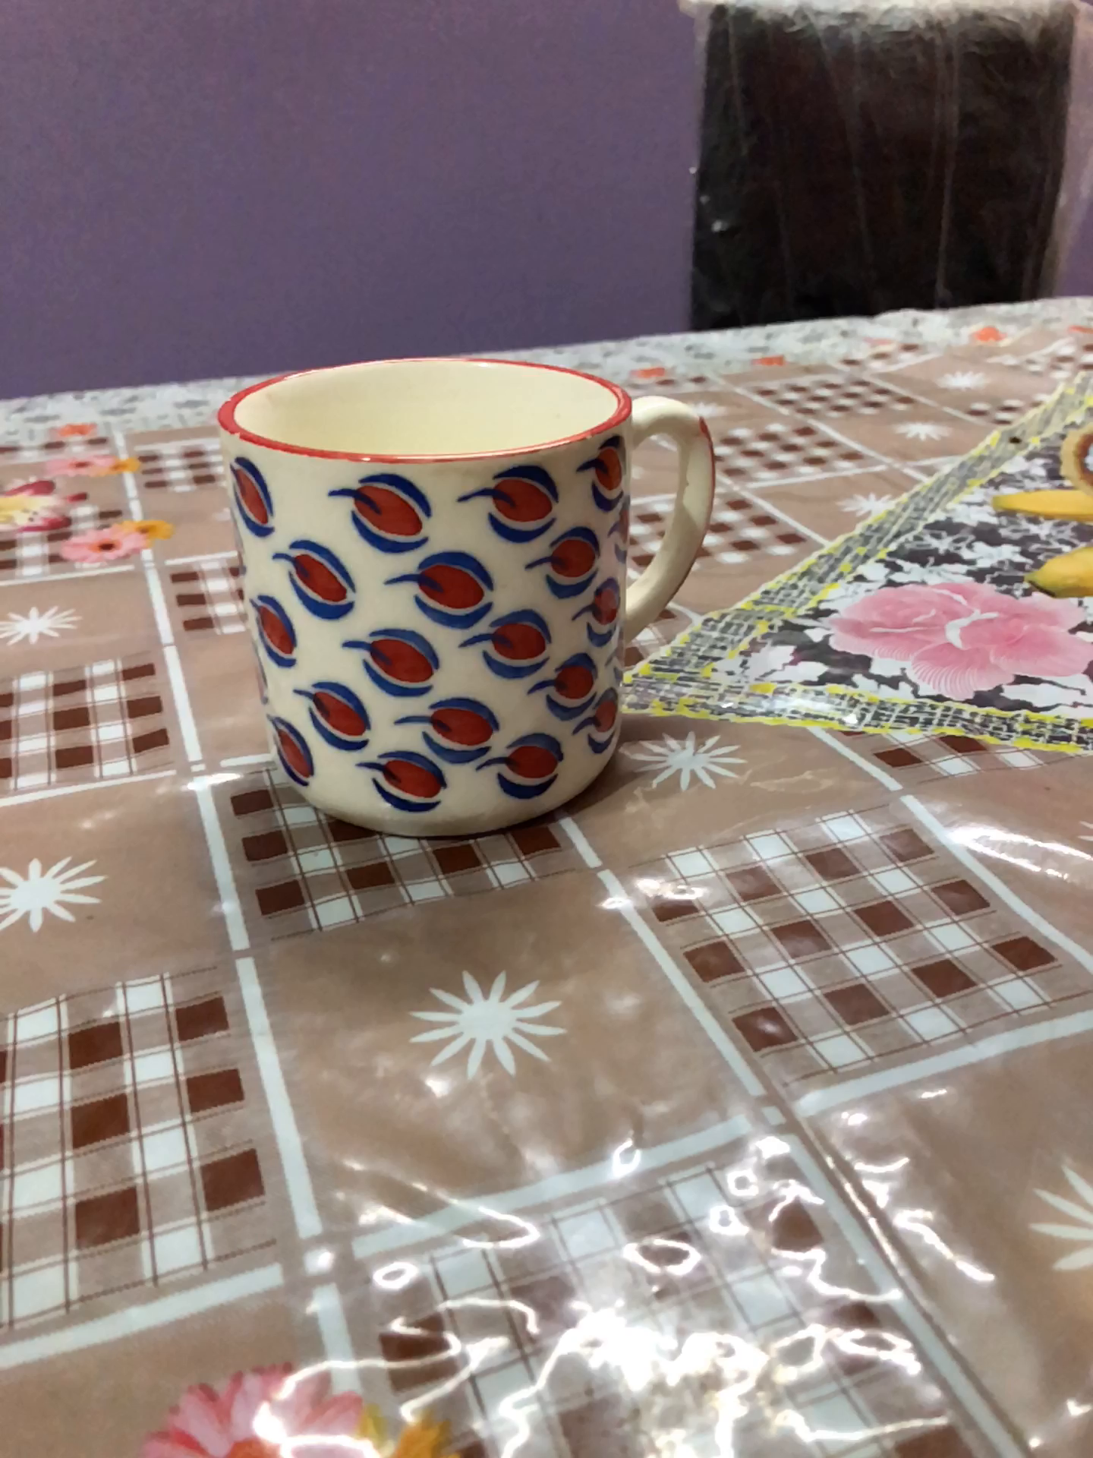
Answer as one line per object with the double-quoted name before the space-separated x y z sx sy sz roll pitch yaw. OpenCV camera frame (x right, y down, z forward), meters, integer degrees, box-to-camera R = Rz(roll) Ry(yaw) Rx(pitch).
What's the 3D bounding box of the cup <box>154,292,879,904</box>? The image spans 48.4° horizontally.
"cup" -0.006 -0.036 0.246 0.110 0.079 0.080 -18 33 -29
